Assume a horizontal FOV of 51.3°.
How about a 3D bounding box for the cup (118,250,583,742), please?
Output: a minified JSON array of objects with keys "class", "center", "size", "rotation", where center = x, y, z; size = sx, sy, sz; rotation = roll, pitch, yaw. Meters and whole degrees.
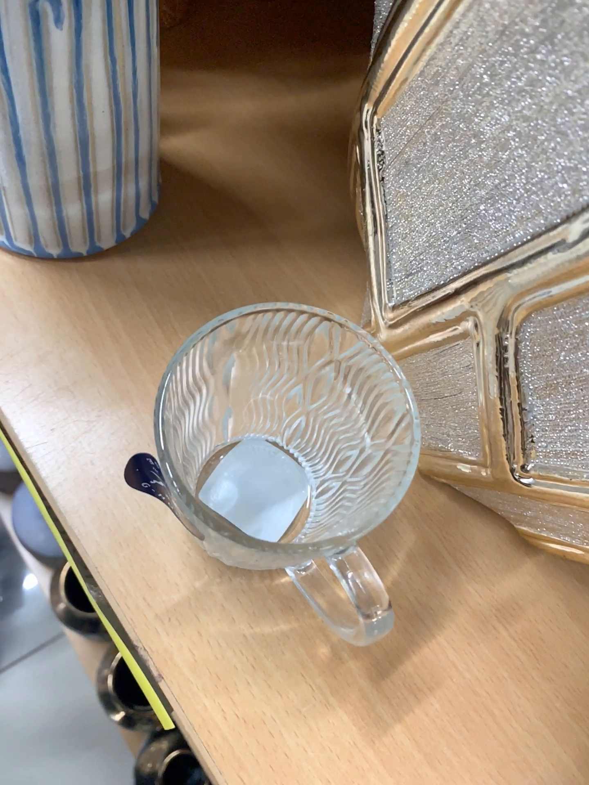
[{"class":"cup","center":[0.007,0.029,0.179],"size":[0.070,0.070,0.100],"rotation":[-31,75,-24]}]
